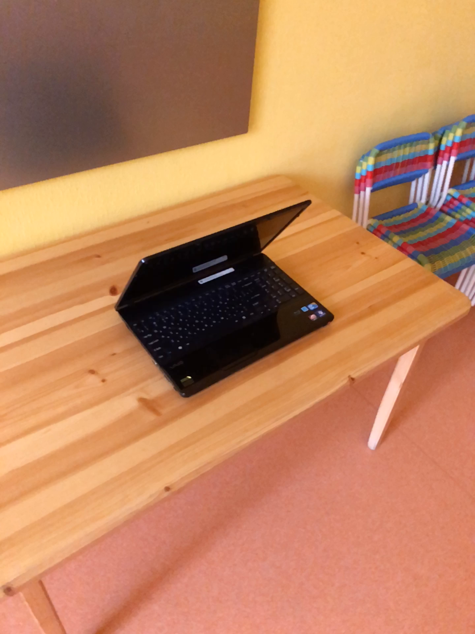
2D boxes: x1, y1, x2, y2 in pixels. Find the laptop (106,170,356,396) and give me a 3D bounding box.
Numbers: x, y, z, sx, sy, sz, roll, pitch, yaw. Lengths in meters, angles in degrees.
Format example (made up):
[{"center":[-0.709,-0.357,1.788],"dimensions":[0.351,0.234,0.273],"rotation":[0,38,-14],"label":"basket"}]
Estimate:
[{"center":[-0.012,-0.082,0.974],"dimensions":[0.363,0.200,0.248],"rotation":[-25,52,-29],"label":"laptop"}]
